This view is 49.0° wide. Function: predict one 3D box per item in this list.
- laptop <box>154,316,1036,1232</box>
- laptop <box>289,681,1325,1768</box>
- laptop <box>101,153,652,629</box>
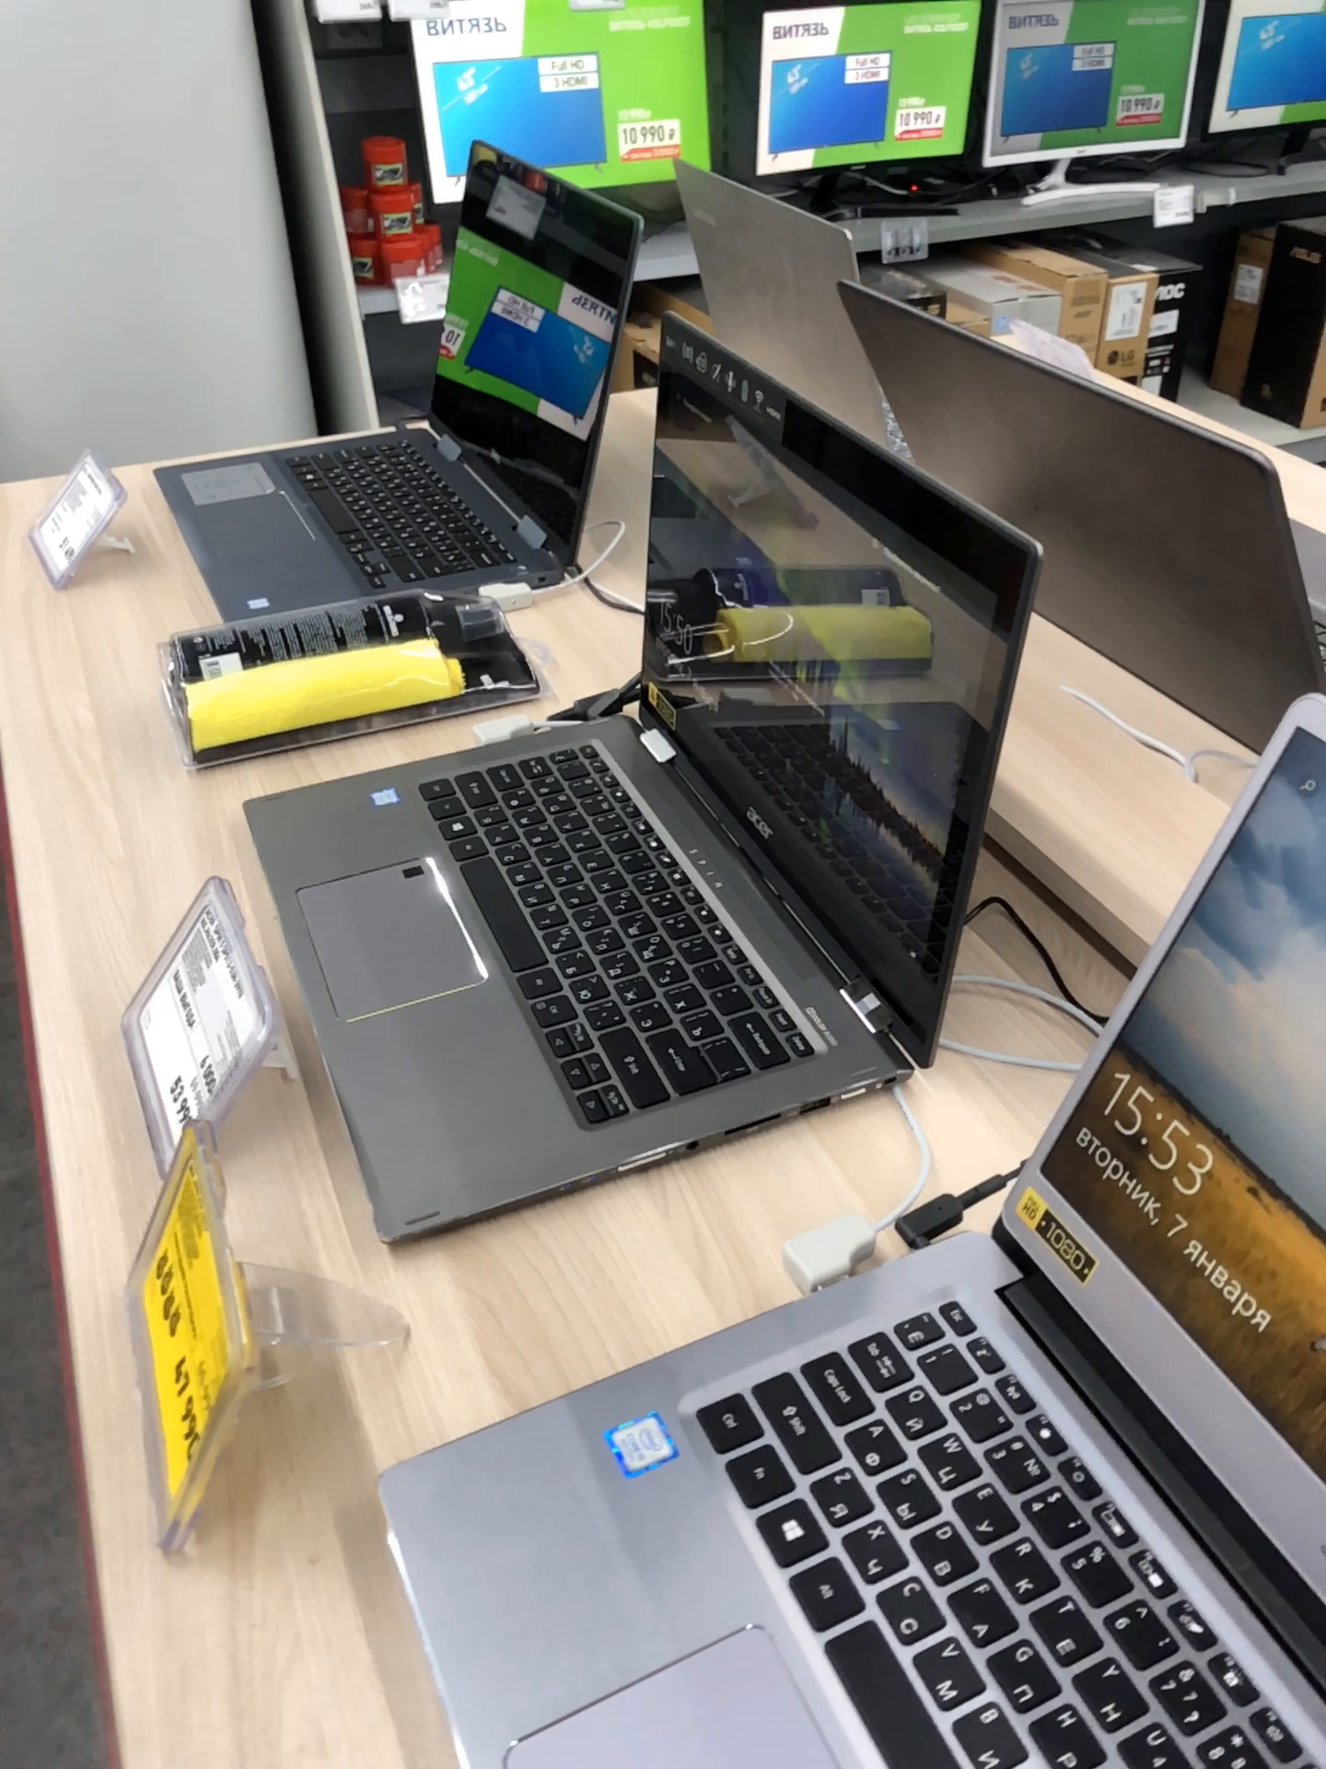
[{"bbox_3d":[-0.050,-0.076,0.617,0.245,0.215,0.316,-14,37,-17],"label":"laptop"},{"bbox_3d":[0.101,0.127,0.325,0.298,0.196,0.271,-15,36,-19],"label":"laptop"},{"bbox_3d":[-0.211,-0.371,1.041,0.288,0.215,0.341,-15,36,-17],"label":"laptop"}]
